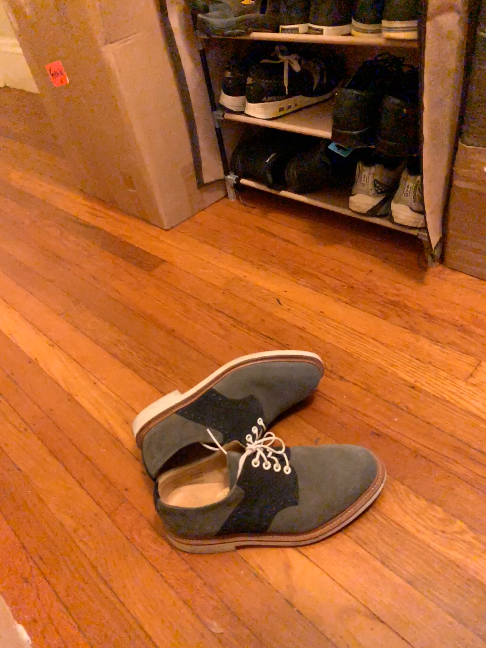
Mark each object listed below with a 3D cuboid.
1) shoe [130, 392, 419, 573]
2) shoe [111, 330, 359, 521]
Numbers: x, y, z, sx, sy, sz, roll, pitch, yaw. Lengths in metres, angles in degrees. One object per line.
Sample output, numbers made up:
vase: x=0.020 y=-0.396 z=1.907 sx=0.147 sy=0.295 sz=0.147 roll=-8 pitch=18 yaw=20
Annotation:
shoe: x=0.033 y=0.192 z=0.604 sx=0.310 sy=0.099 sz=0.131 roll=-10 pitch=42 yaw=2
shoe: x=-0.007 y=0.140 z=0.698 sx=0.310 sy=0.129 sz=0.121 roll=-18 pitch=44 yaw=-6
